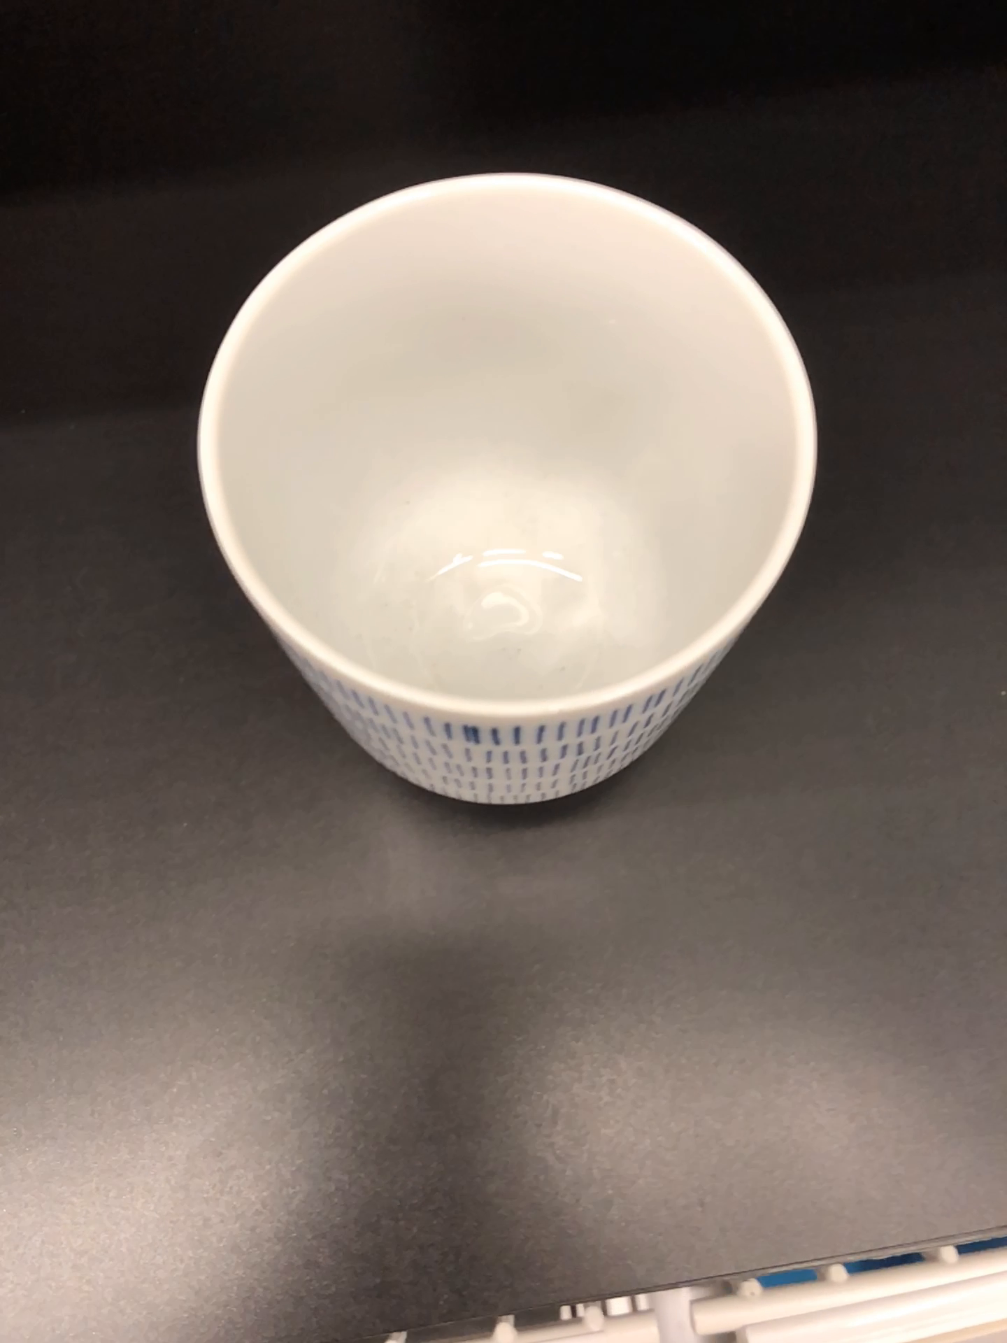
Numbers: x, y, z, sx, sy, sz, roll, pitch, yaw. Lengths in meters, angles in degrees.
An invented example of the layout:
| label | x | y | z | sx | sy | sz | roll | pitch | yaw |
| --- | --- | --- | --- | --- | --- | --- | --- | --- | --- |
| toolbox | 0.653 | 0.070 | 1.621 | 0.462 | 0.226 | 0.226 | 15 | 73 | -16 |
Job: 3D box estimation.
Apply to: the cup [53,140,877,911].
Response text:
| label | x | y | z | sx | sy | sz | roll | pitch | yaw |
| --- | --- | --- | --- | --- | --- | --- | --- | --- | --- |
| cup | -0.008 | -0.014 | 0.155 | 0.080 | 0.070 | 0.070 | -7 | 70 | -3 |
